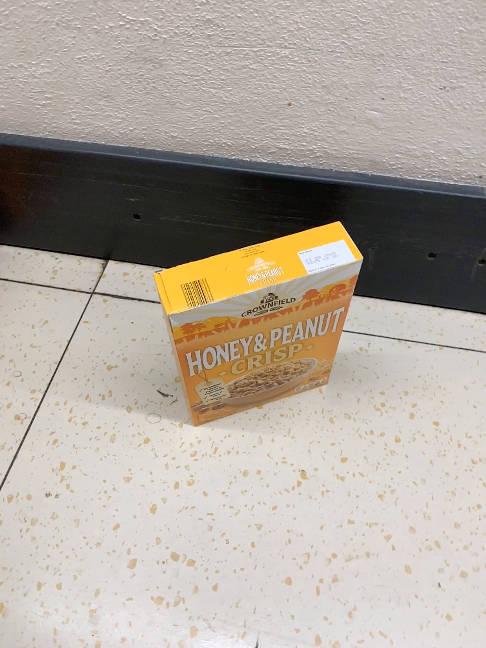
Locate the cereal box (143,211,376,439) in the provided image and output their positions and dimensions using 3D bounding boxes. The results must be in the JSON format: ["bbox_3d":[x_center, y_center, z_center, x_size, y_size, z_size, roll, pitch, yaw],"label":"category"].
[{"bbox_3d":[0.015,0.019,0.529,0.190,0.268,0.050,-17,58,-11],"label":"cereal box"}]
